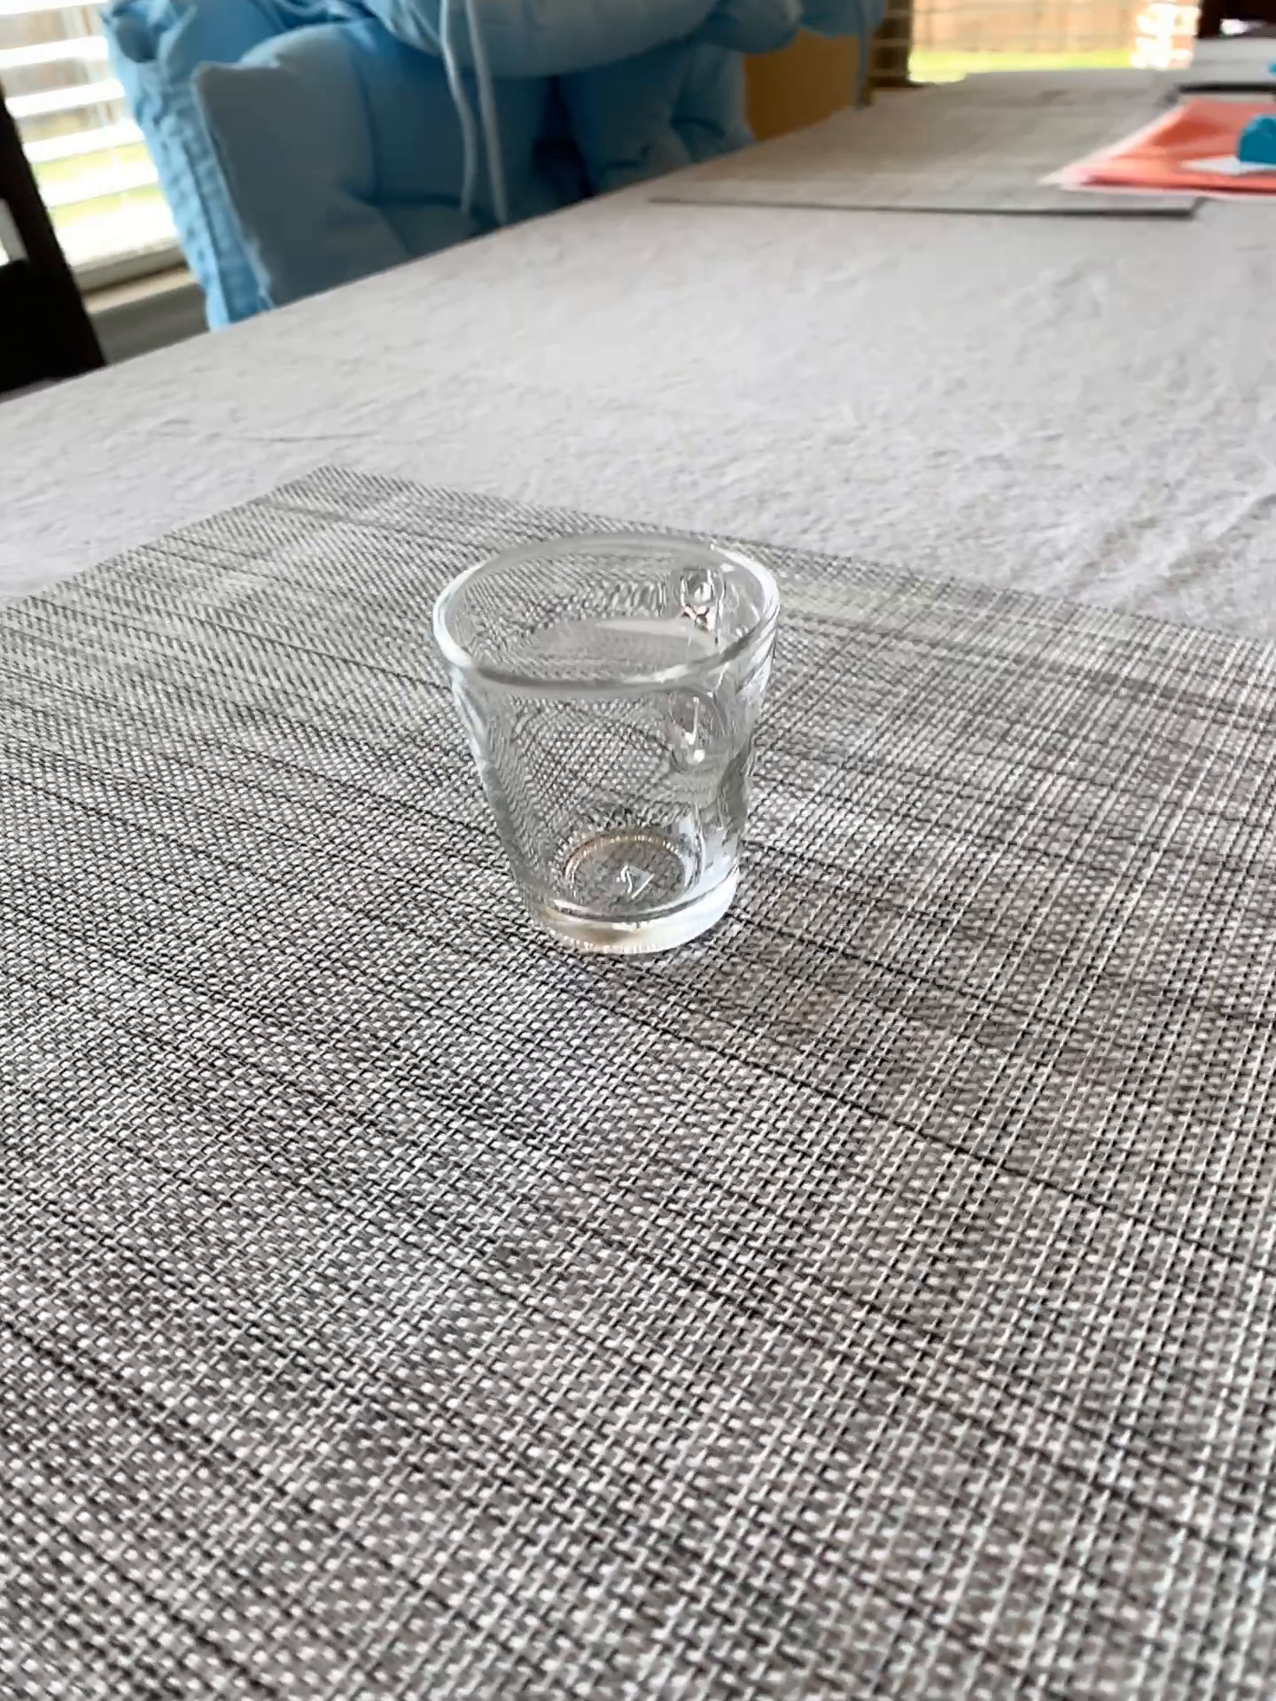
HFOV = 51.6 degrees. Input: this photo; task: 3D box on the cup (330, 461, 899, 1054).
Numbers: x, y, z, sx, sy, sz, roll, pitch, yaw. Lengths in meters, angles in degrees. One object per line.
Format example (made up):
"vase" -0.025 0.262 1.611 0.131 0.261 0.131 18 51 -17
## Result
"cup" 0.002 -0.022 0.235 0.058 0.060 0.083 18 44 28
